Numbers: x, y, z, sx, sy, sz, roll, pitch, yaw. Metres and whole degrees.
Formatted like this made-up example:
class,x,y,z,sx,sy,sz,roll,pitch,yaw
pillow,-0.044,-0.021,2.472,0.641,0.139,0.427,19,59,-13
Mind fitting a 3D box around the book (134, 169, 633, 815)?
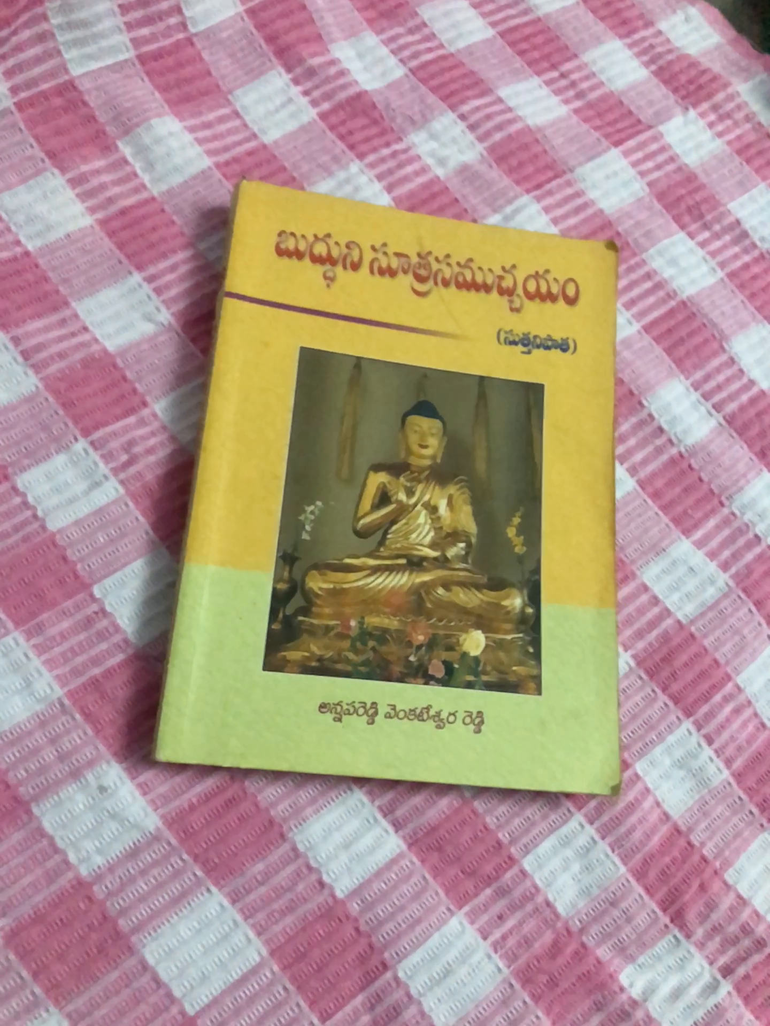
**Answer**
class,x,y,z,sx,sy,sz,roll,pitch,yaw
book,0.007,-0.010,0.300,0.150,0.030,0.210,7,71,-10
